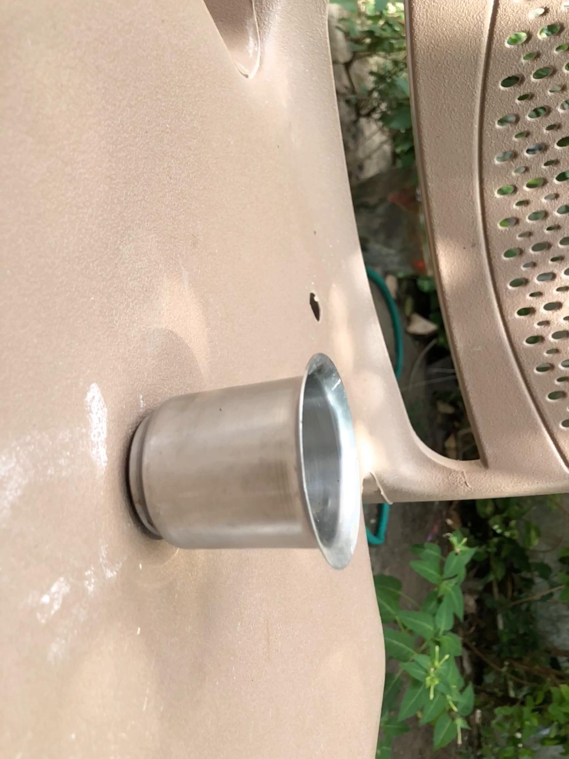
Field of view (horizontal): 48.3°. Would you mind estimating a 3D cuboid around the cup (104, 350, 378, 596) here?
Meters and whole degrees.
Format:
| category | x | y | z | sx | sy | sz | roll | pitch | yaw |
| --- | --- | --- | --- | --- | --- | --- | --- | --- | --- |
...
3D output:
| category | x | y | z | sx | sy | sz | roll | pitch | yaw |
| --- | --- | --- | --- | --- | --- | --- | --- | --- | --- |
| cup | -0.009 | 0.029 | 0.195 | 0.060 | 0.060 | 0.060 | -4 | 90 | -66 |
